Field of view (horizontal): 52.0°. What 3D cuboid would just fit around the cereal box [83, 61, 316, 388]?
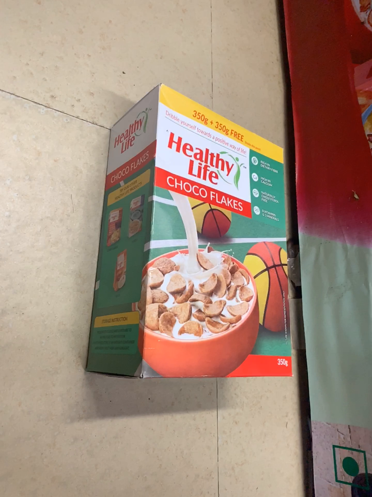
[{"bbox_3d":[0.022,-0.005,0.407,0.201,0.110,0.280,14,69,-36],"label":"cereal box"}]
